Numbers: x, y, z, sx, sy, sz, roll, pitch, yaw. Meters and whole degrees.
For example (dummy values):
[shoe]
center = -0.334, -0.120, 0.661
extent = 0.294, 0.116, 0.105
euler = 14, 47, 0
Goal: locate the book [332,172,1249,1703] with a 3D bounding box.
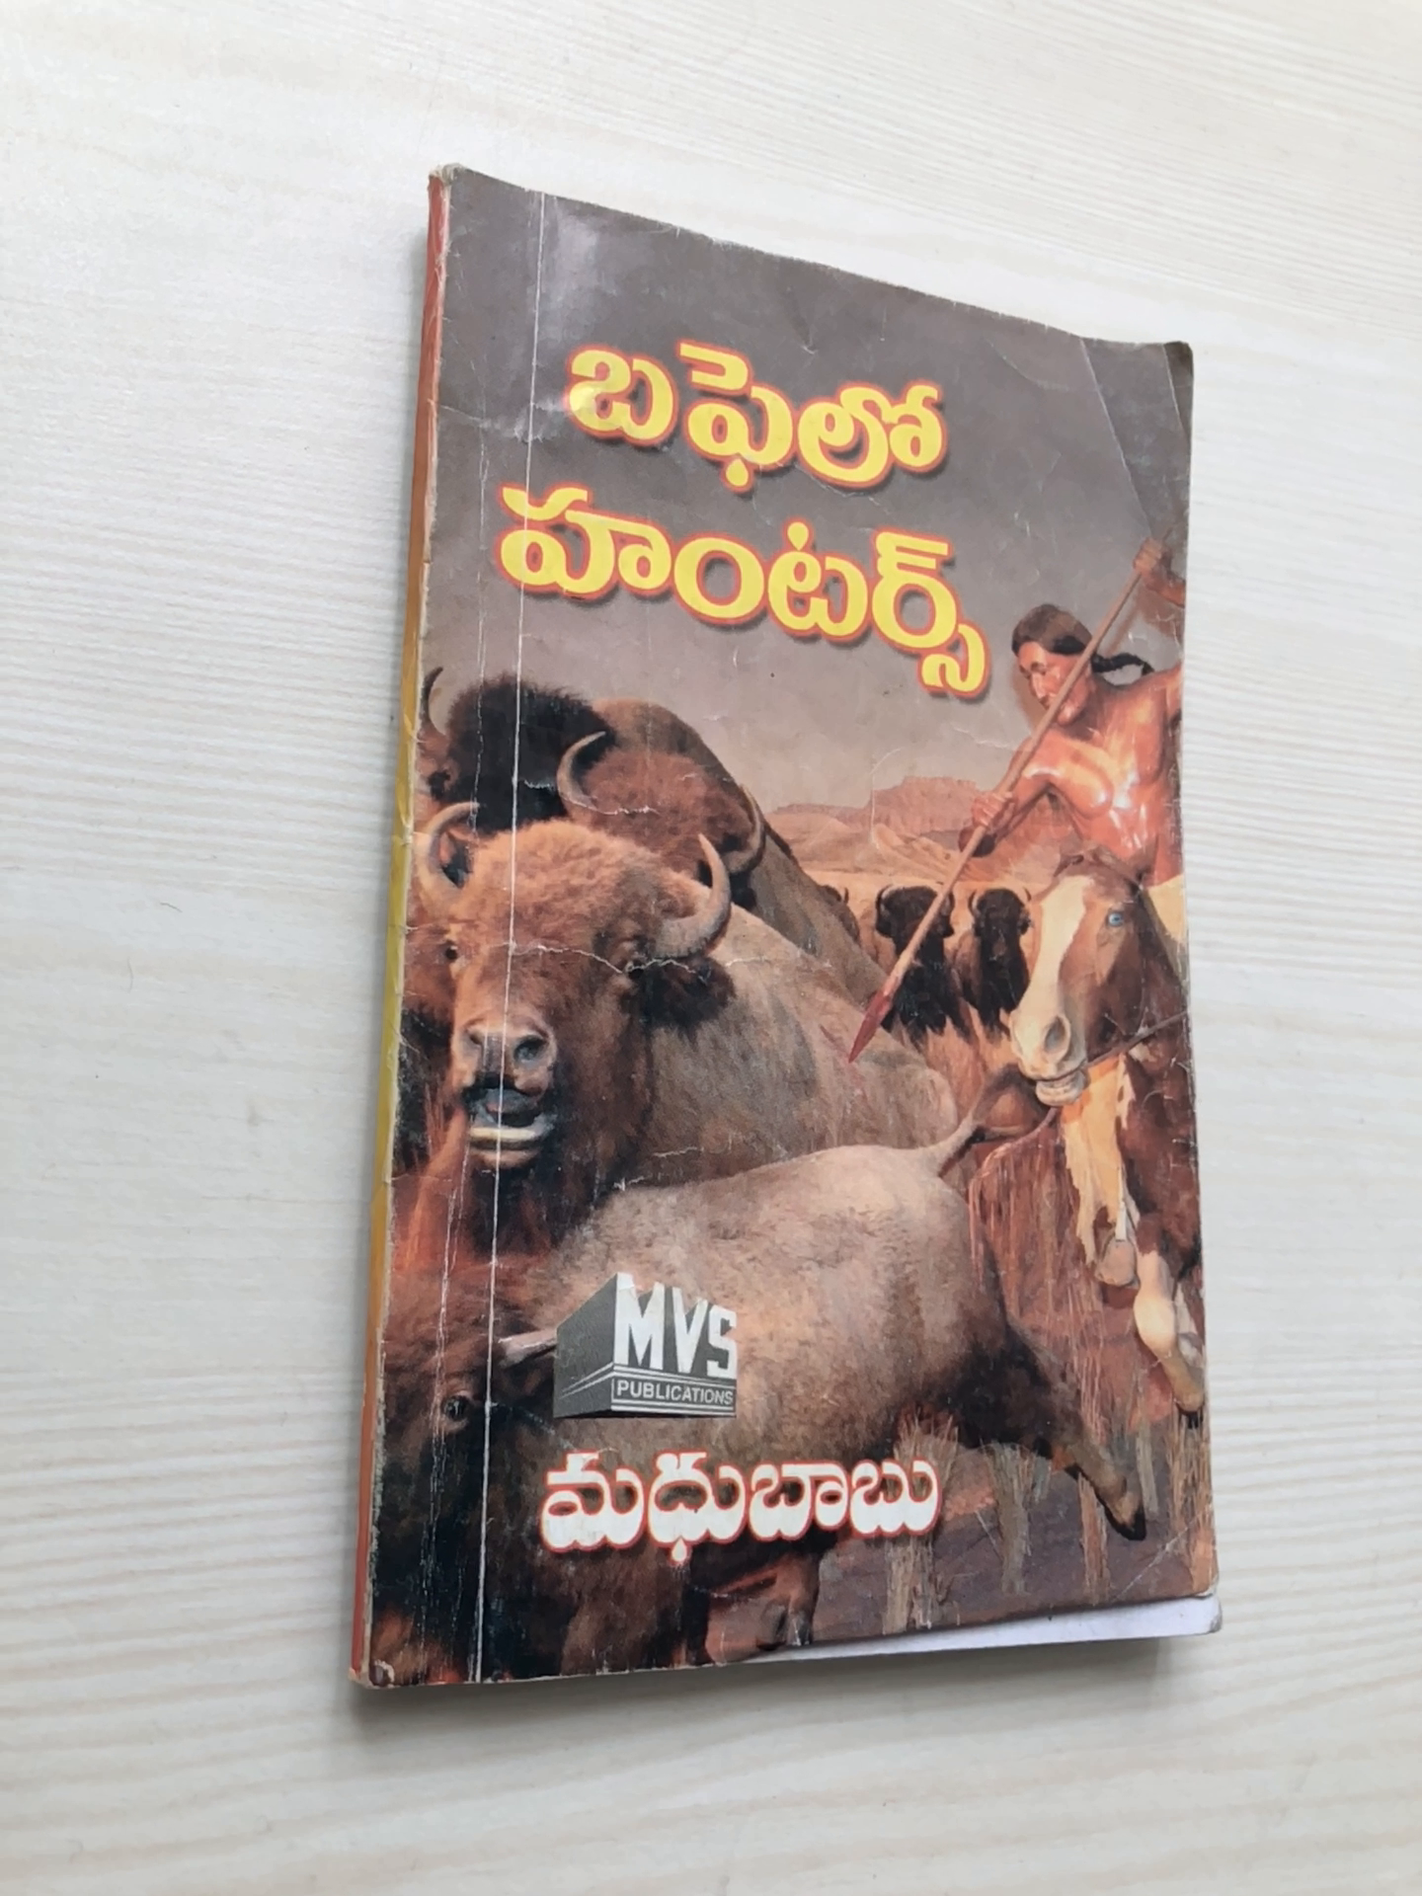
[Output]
[book]
center = 0.014, 0.000, 0.183
extent = 0.100, 0.020, 0.150
euler = 4, 84, -21
